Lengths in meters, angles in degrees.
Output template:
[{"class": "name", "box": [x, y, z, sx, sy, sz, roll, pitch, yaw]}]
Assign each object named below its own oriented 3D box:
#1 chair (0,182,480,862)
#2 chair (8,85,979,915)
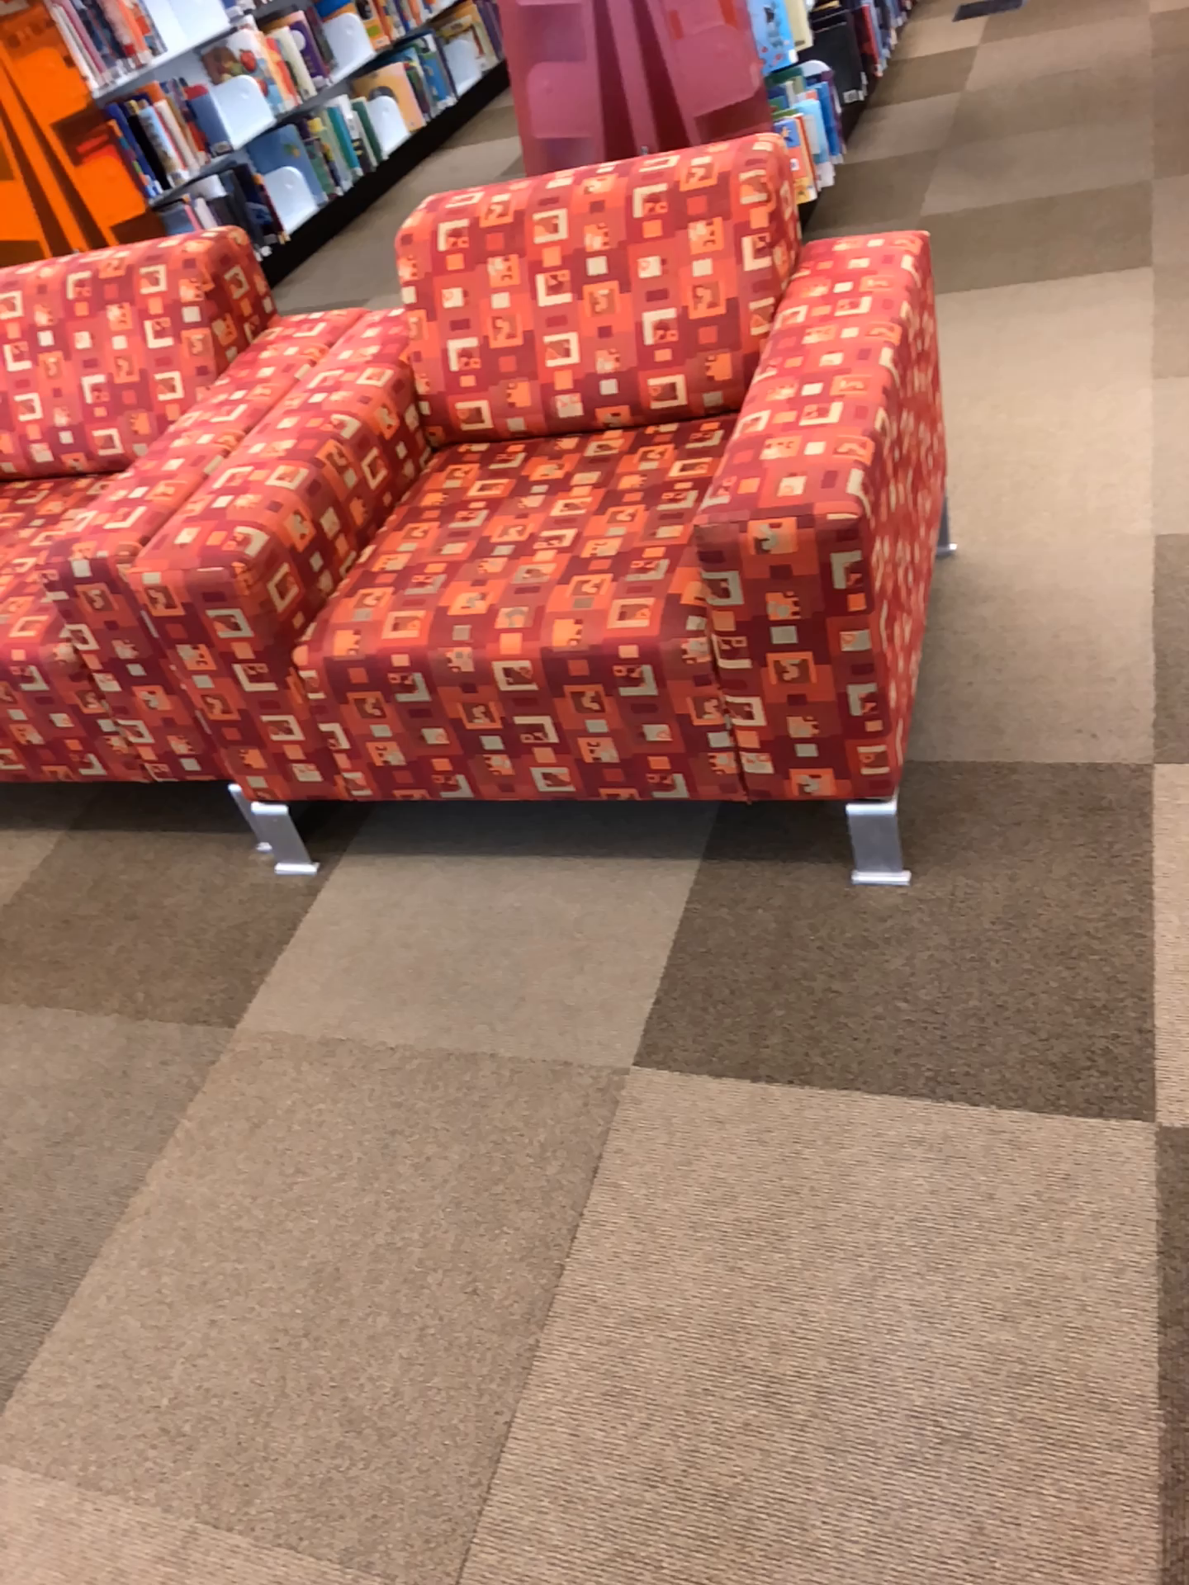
[{"class": "chair", "box": [-0.884, -0.479, 2.314, 0.920, 0.716, 0.955, 0, 41, 22]}, {"class": "chair", "box": [-0.011, -0.440, 1.926, 1.004, 0.686, 0.995, 0, 41, 22]}]
